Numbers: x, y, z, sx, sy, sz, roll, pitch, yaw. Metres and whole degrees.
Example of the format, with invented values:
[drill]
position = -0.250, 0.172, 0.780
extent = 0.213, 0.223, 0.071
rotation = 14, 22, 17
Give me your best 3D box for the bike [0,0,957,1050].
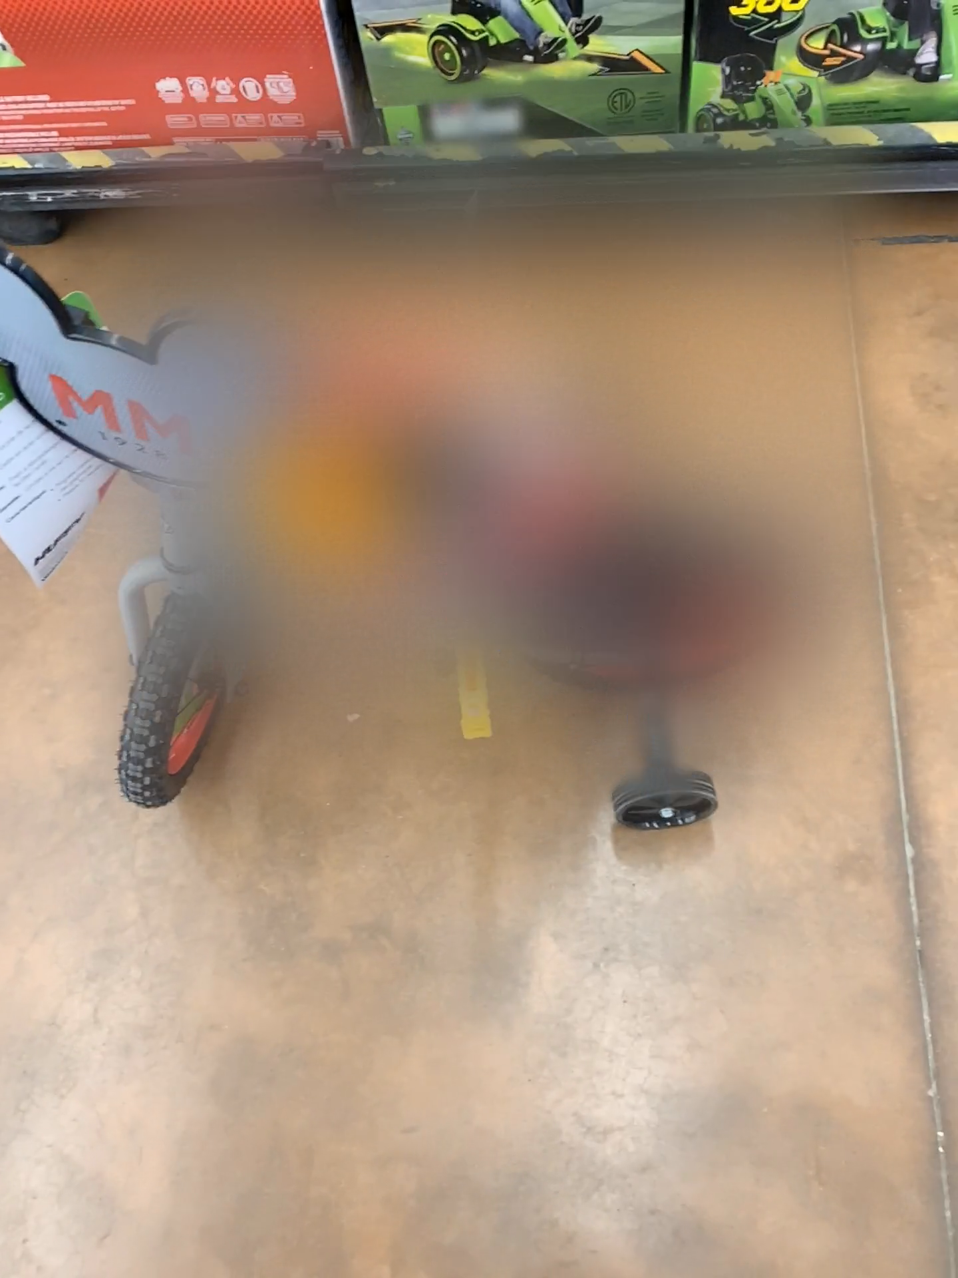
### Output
[bike]
position = -0.040, -0.048, 0.845
extent = 0.678, 0.742, 0.450
rotation = -17, 56, -1
